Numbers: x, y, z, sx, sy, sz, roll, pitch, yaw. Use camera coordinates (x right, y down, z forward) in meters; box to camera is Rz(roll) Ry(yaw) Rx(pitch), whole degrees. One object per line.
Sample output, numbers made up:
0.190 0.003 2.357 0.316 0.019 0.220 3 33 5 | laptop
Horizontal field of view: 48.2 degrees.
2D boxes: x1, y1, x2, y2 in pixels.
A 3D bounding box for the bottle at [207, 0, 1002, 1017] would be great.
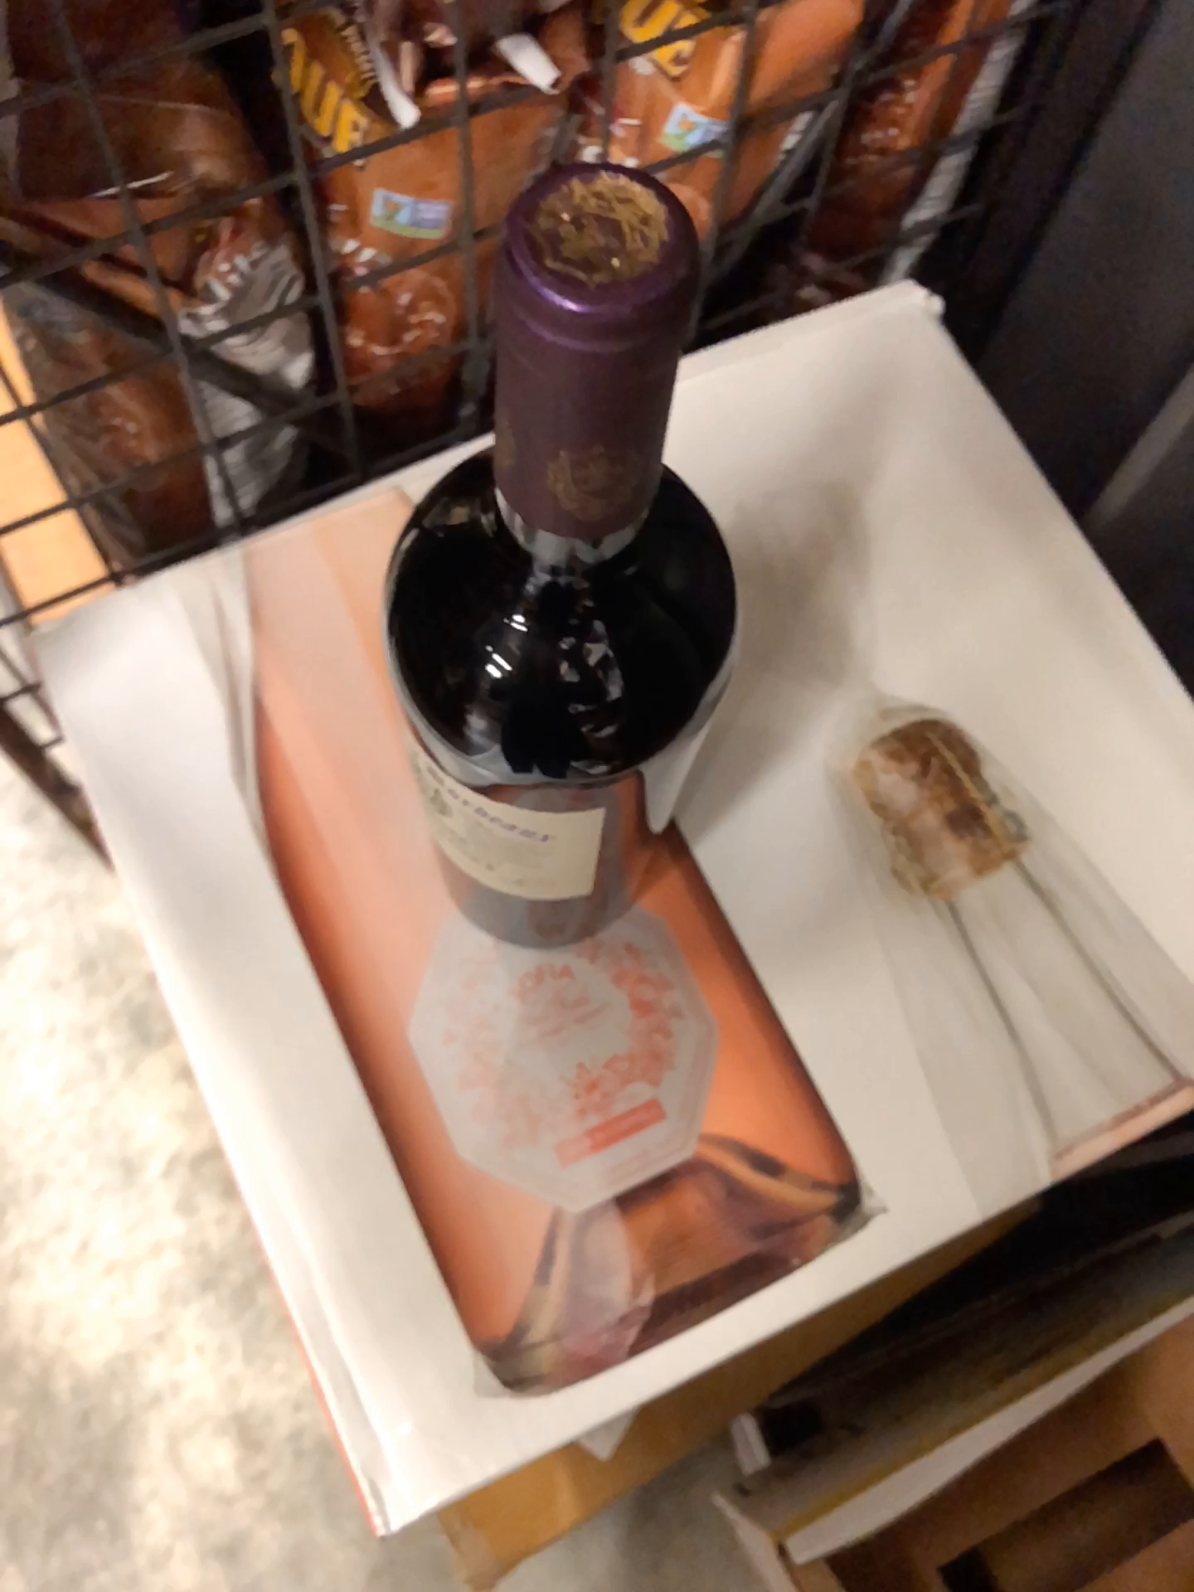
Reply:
-0.007 -0.031 0.323 0.085 0.291 0.073 -38 76 -16 | bottle
